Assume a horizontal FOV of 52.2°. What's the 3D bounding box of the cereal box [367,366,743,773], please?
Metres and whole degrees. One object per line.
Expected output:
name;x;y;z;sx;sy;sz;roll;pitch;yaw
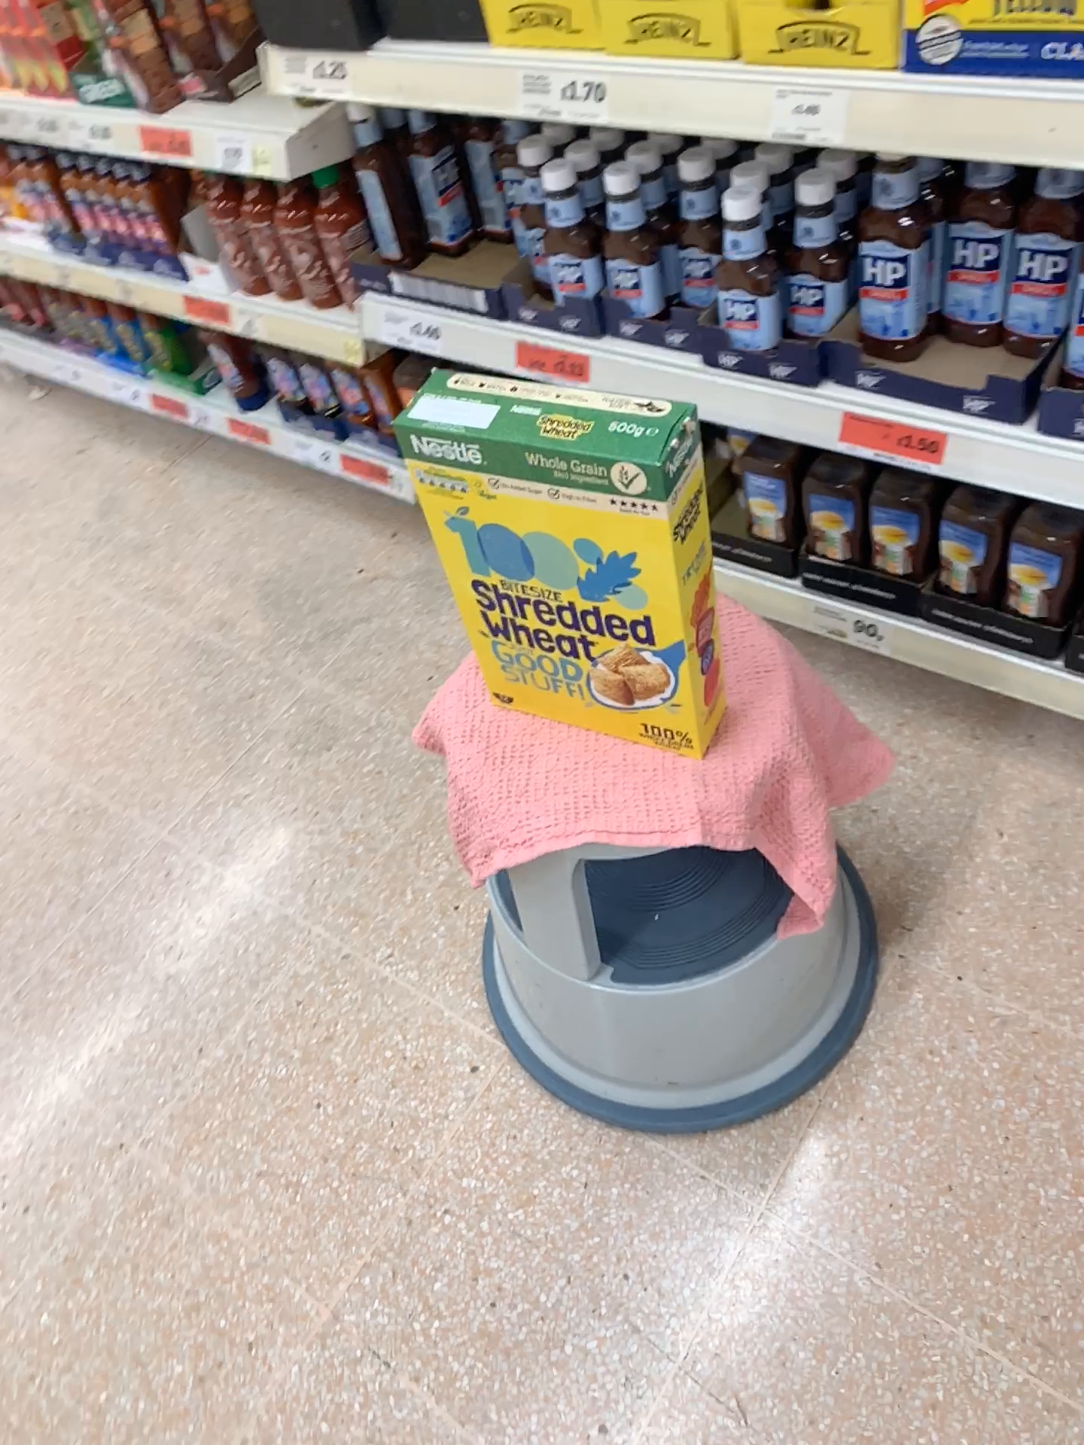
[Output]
cereal box;0.022;-0.103;0.794;0.211;0.278;0.070;17;57;27
